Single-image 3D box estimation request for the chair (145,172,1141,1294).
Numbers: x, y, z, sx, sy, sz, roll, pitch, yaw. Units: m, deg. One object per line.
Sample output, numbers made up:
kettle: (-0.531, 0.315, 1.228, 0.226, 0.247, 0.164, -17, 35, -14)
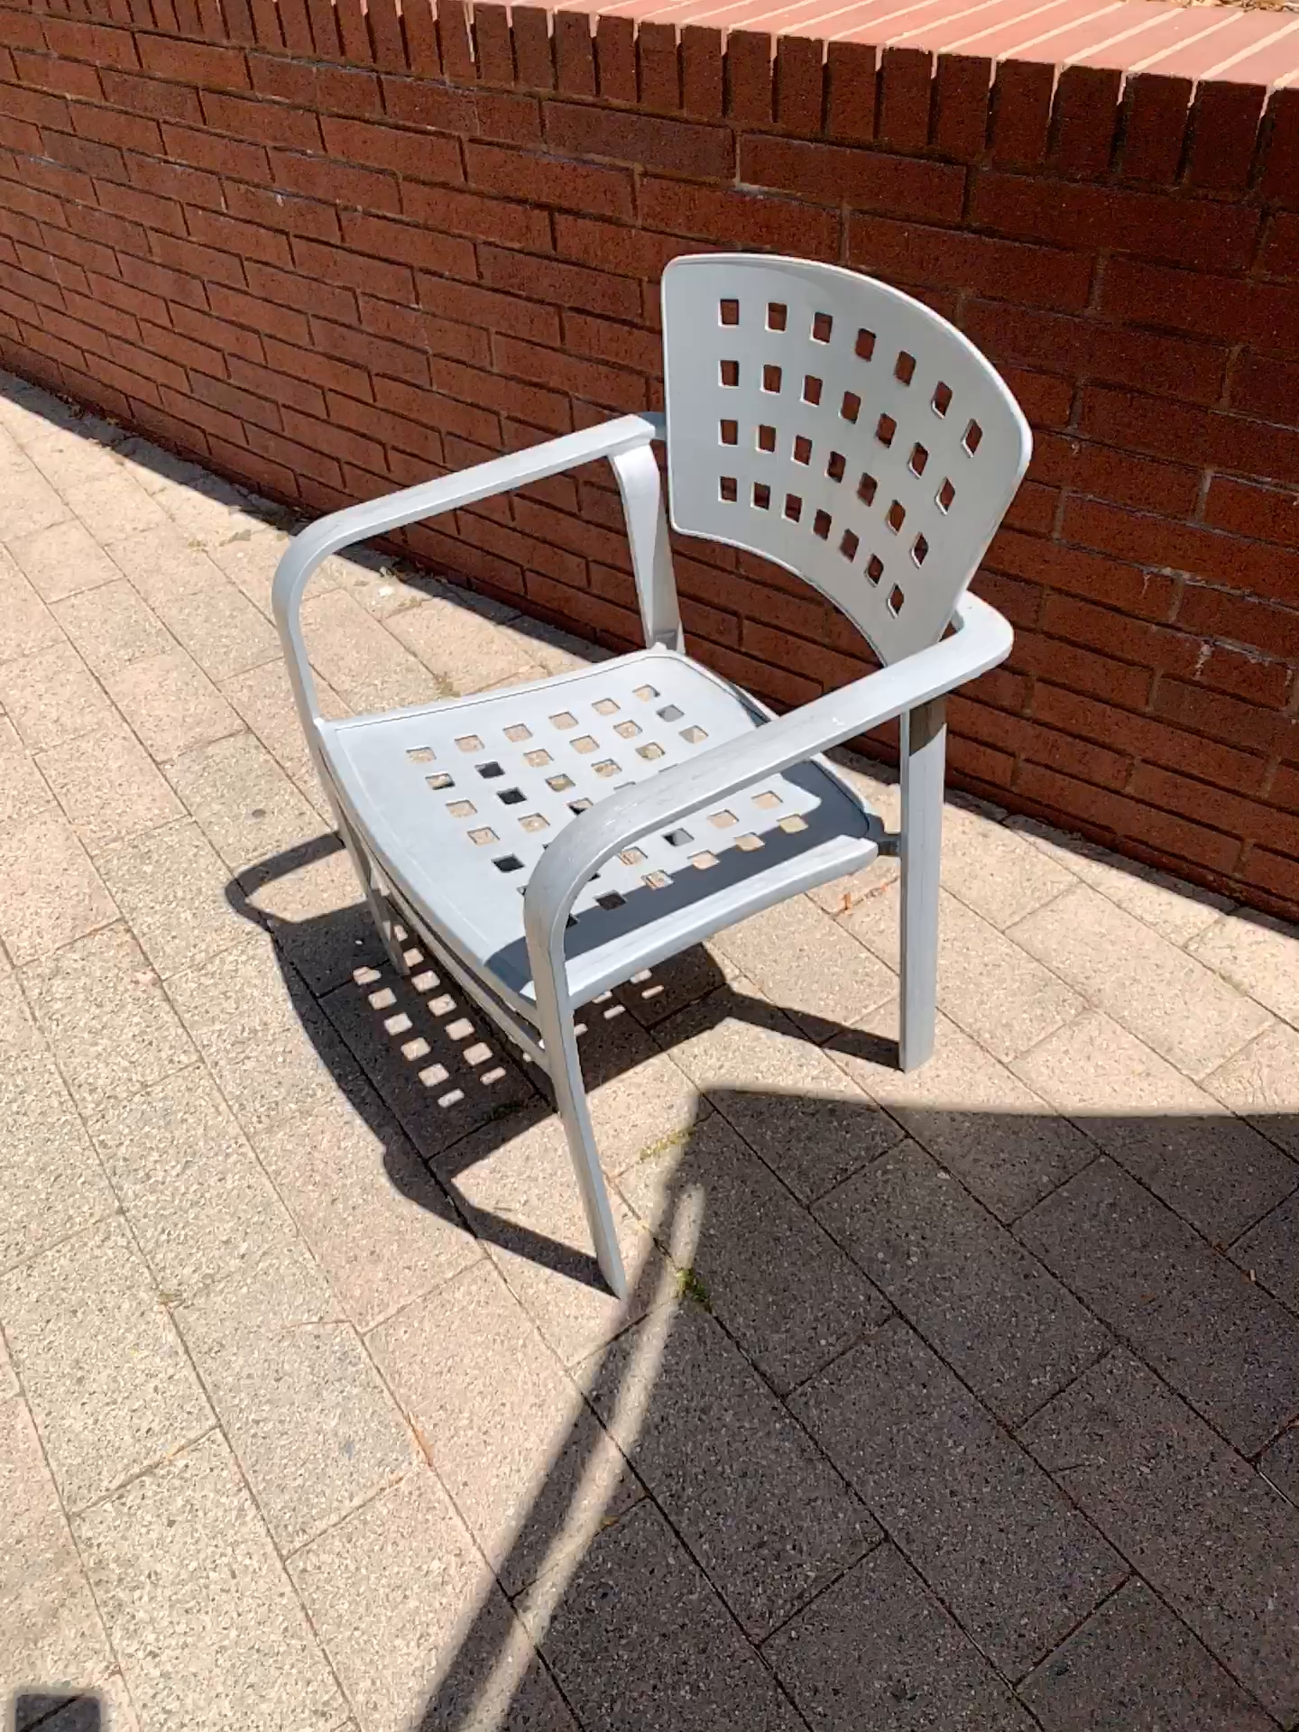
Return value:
chair: (-0.018, -0.136, 1.216, 0.498, 0.698, 0.564, -26, 47, -22)
